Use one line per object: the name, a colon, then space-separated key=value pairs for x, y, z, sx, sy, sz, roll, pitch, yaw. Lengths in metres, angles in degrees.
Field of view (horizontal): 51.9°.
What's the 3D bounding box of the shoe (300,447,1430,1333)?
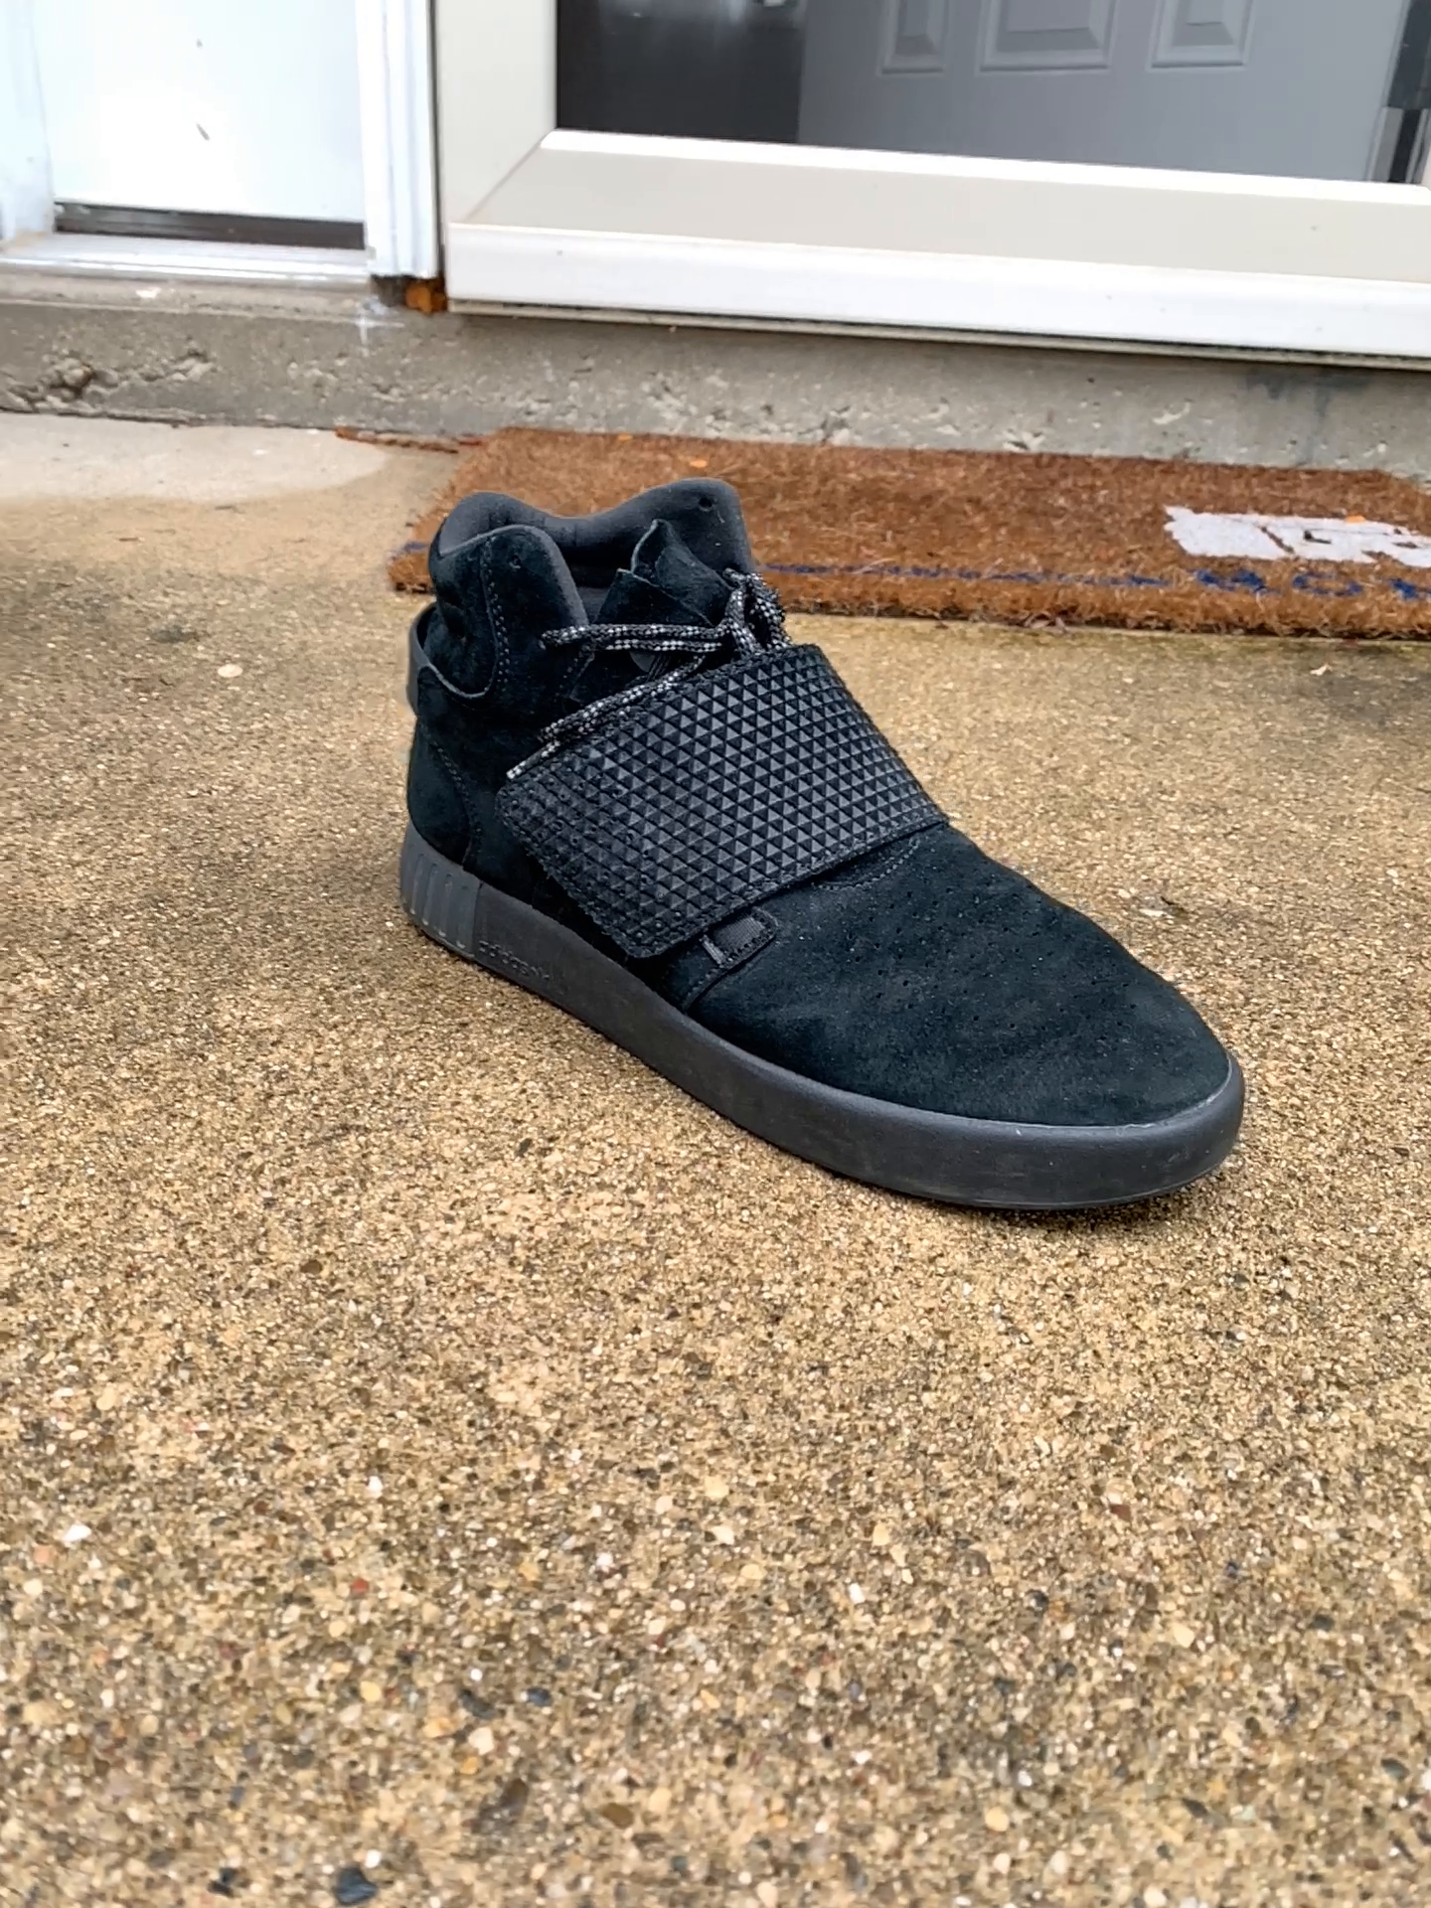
shoe: x=0.025 y=-0.045 z=0.424 sx=0.291 sy=0.141 sz=0.119 roll=24 pitch=34 yaw=32
